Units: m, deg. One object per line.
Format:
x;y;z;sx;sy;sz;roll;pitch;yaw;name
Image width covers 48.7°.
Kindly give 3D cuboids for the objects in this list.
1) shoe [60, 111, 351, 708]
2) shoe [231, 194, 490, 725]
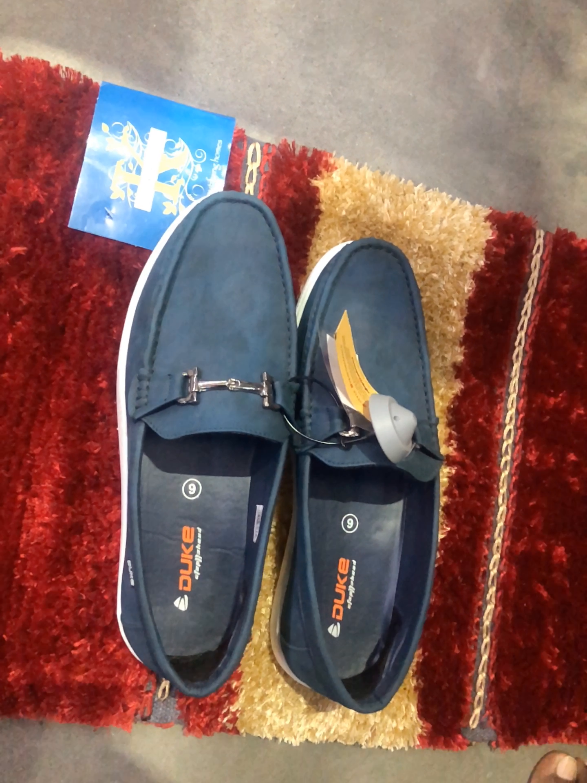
-0.050;0.012;0.361;0.110;0.090;0.280;8;84;-16;shoe
0.038;0.040;0.399;0.100;0.090;0.280;9;84;-16;shoe
